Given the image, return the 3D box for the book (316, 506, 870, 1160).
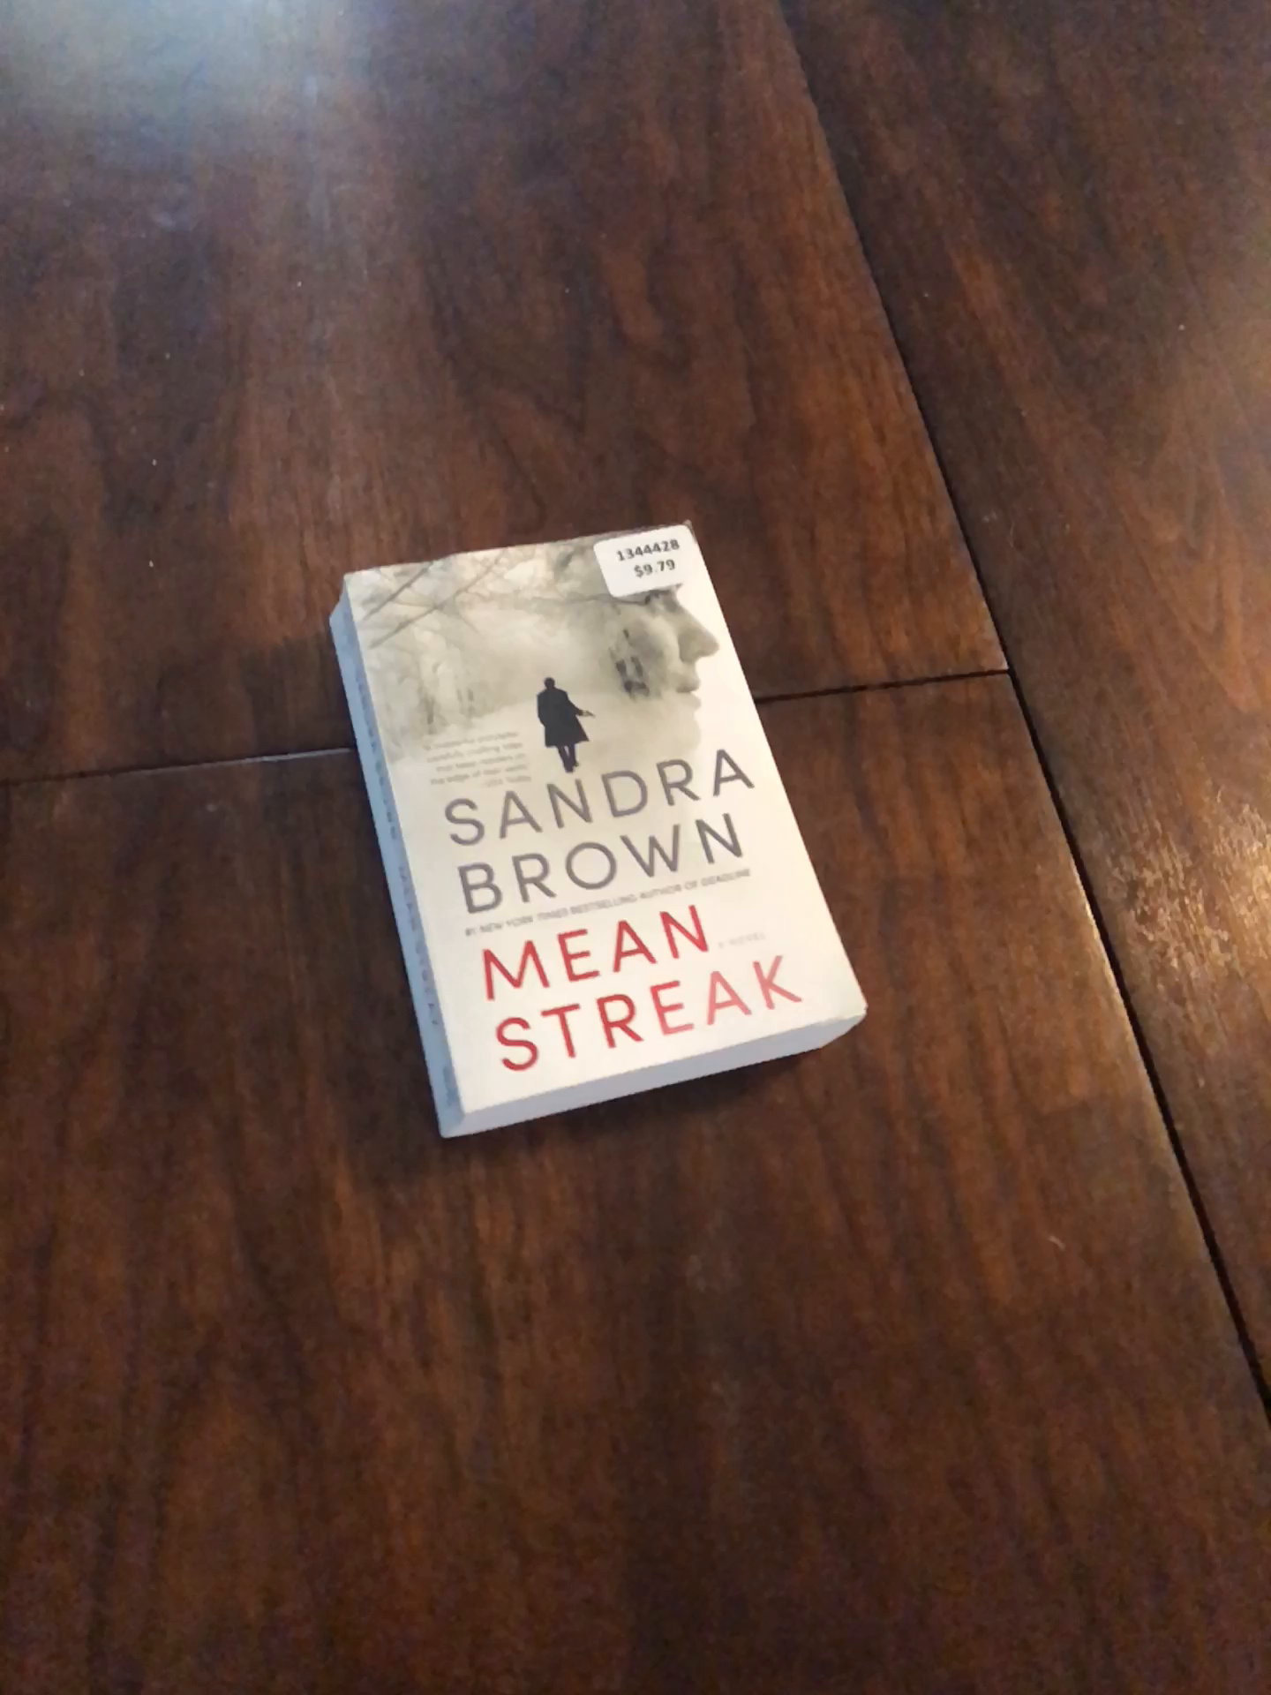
[{"bbox_3d":[-0.021,-0.014,0.478,0.137,0.030,0.207,-12,67,-11],"label":"book"}]
